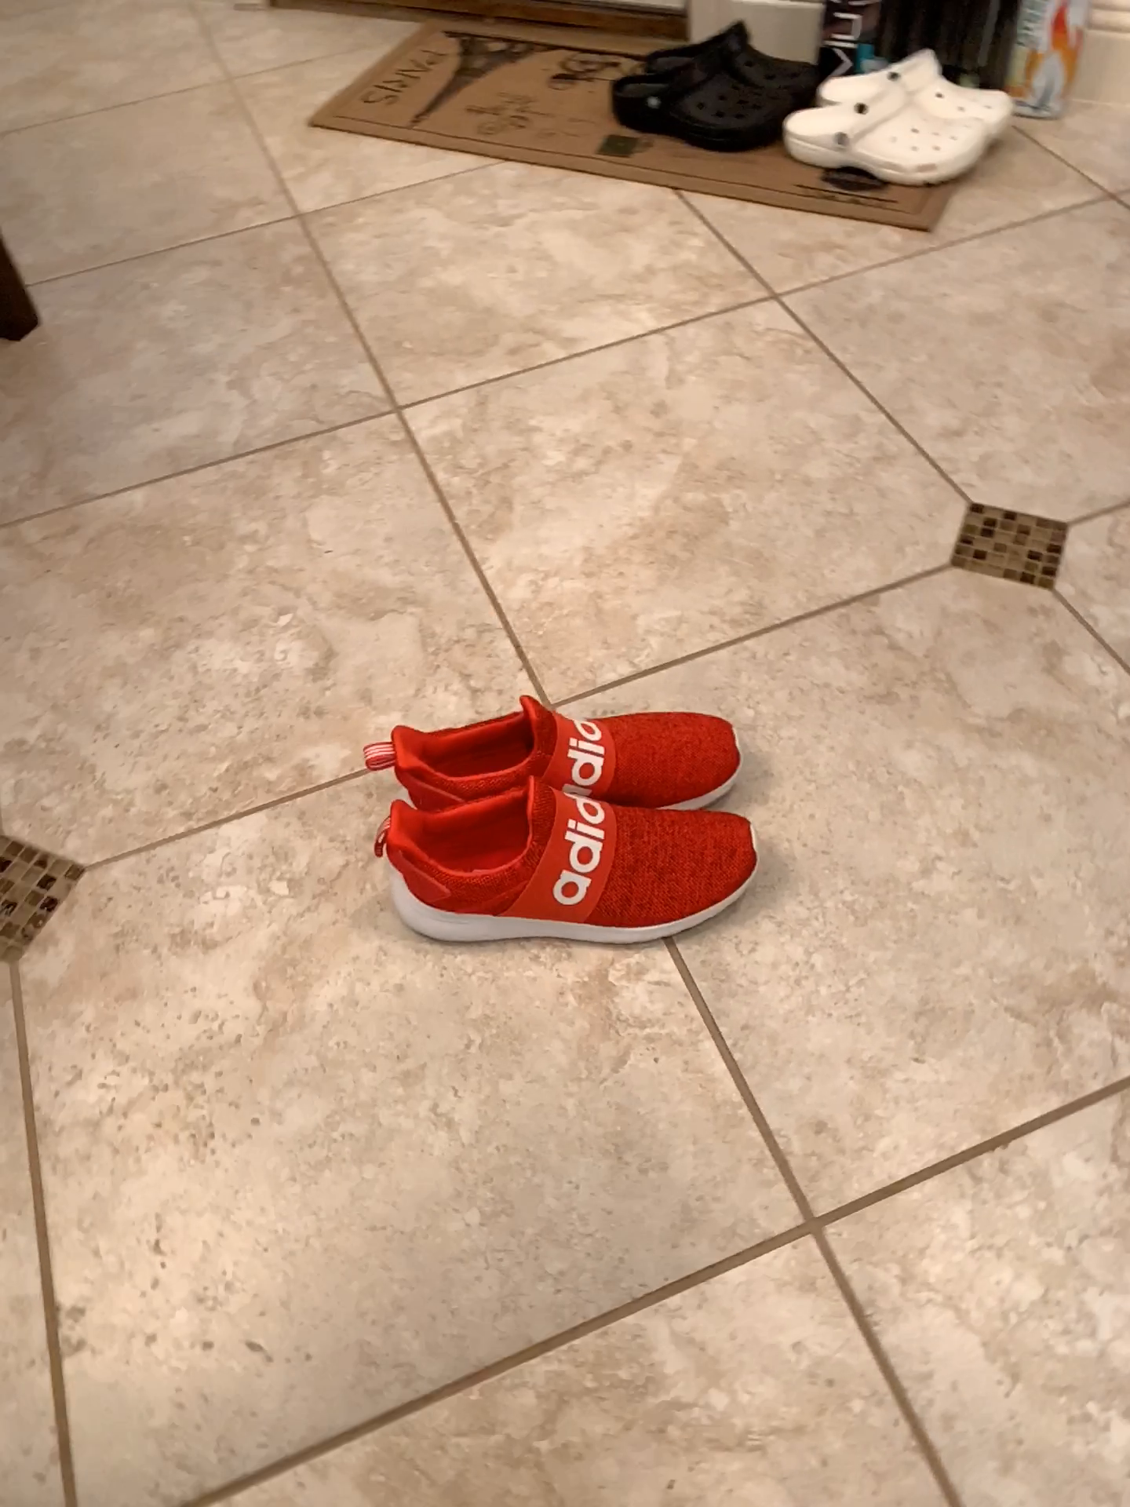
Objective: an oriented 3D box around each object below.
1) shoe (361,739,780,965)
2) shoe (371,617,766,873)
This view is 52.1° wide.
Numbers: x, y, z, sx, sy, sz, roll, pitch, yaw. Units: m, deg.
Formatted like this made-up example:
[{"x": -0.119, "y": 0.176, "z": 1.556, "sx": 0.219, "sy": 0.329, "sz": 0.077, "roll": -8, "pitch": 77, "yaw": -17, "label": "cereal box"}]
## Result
[{"x": 0.005, "y": 0.079, "z": 0.908, "sx": 0.300, "sy": 0.119, "sz": 0.118, "roll": -3, "pitch": 53, "yaw": 2, "label": "shoe"}, {"x": 0.002, "y": -0.007, "z": 0.967, "sx": 0.300, "sy": 0.119, "sz": 0.118, "roll": -10, "pitch": 52, "yaw": -3, "label": "shoe"}]
